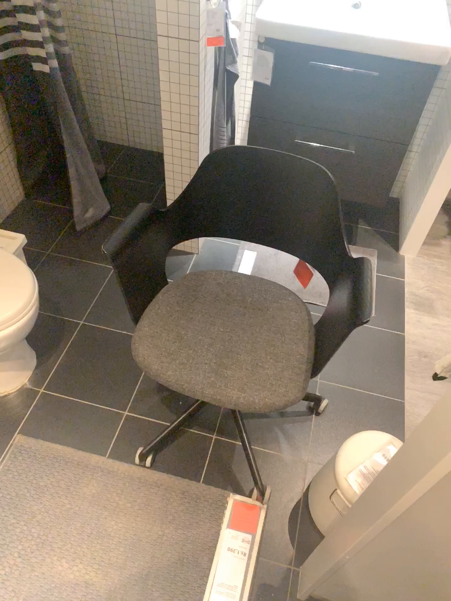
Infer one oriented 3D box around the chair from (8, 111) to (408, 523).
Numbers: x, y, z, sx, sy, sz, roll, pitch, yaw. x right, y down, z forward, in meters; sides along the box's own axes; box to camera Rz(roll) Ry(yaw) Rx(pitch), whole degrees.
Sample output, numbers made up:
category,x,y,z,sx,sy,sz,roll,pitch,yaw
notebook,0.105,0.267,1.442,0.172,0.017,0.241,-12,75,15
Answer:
category,x,y,z,sx,sy,sz,roll,pitch,yaw
chair,0.013,0.063,1.179,0.640,0.738,0.602,13,50,8
